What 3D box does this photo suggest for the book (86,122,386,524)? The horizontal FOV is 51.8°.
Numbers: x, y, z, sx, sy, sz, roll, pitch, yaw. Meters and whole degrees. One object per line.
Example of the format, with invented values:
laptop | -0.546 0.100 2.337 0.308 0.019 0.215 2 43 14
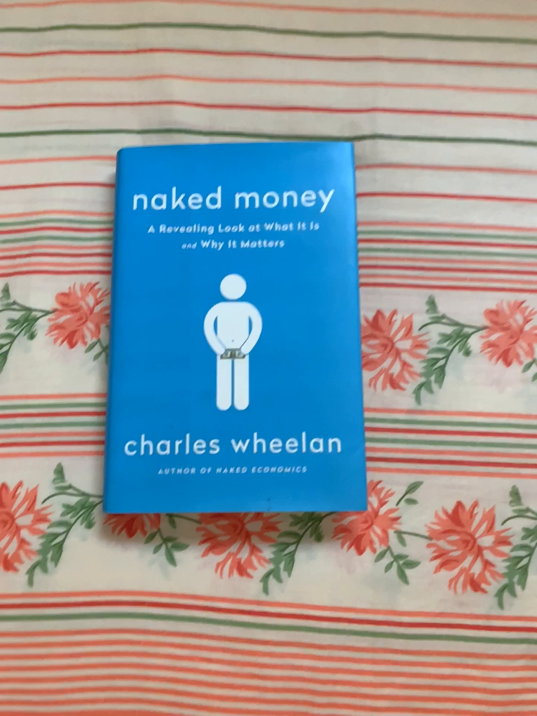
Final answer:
book | -0.020 -0.026 0.357 0.170 0.040 0.250 -1 79 0
